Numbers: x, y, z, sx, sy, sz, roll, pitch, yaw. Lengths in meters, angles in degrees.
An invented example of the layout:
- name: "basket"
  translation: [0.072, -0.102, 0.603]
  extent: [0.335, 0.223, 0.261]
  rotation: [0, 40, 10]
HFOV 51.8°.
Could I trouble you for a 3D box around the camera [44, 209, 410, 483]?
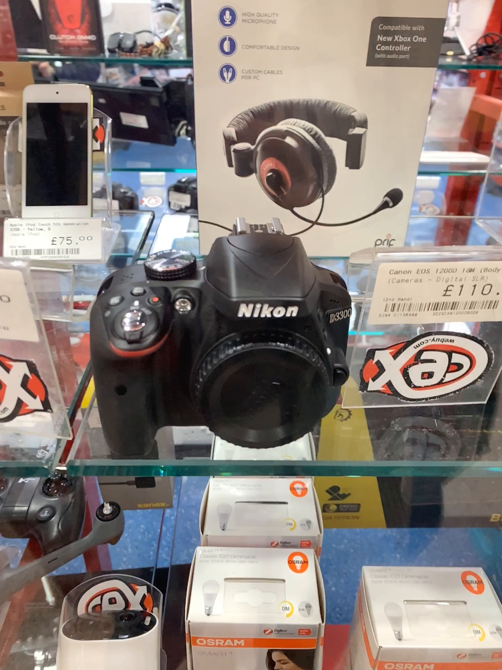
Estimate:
- name: "camera"
  translation: [-0.013, -0.004, 0.251]
  extent: [0.130, 0.079, 0.111]
  rotation: [-2, 32, -6]
